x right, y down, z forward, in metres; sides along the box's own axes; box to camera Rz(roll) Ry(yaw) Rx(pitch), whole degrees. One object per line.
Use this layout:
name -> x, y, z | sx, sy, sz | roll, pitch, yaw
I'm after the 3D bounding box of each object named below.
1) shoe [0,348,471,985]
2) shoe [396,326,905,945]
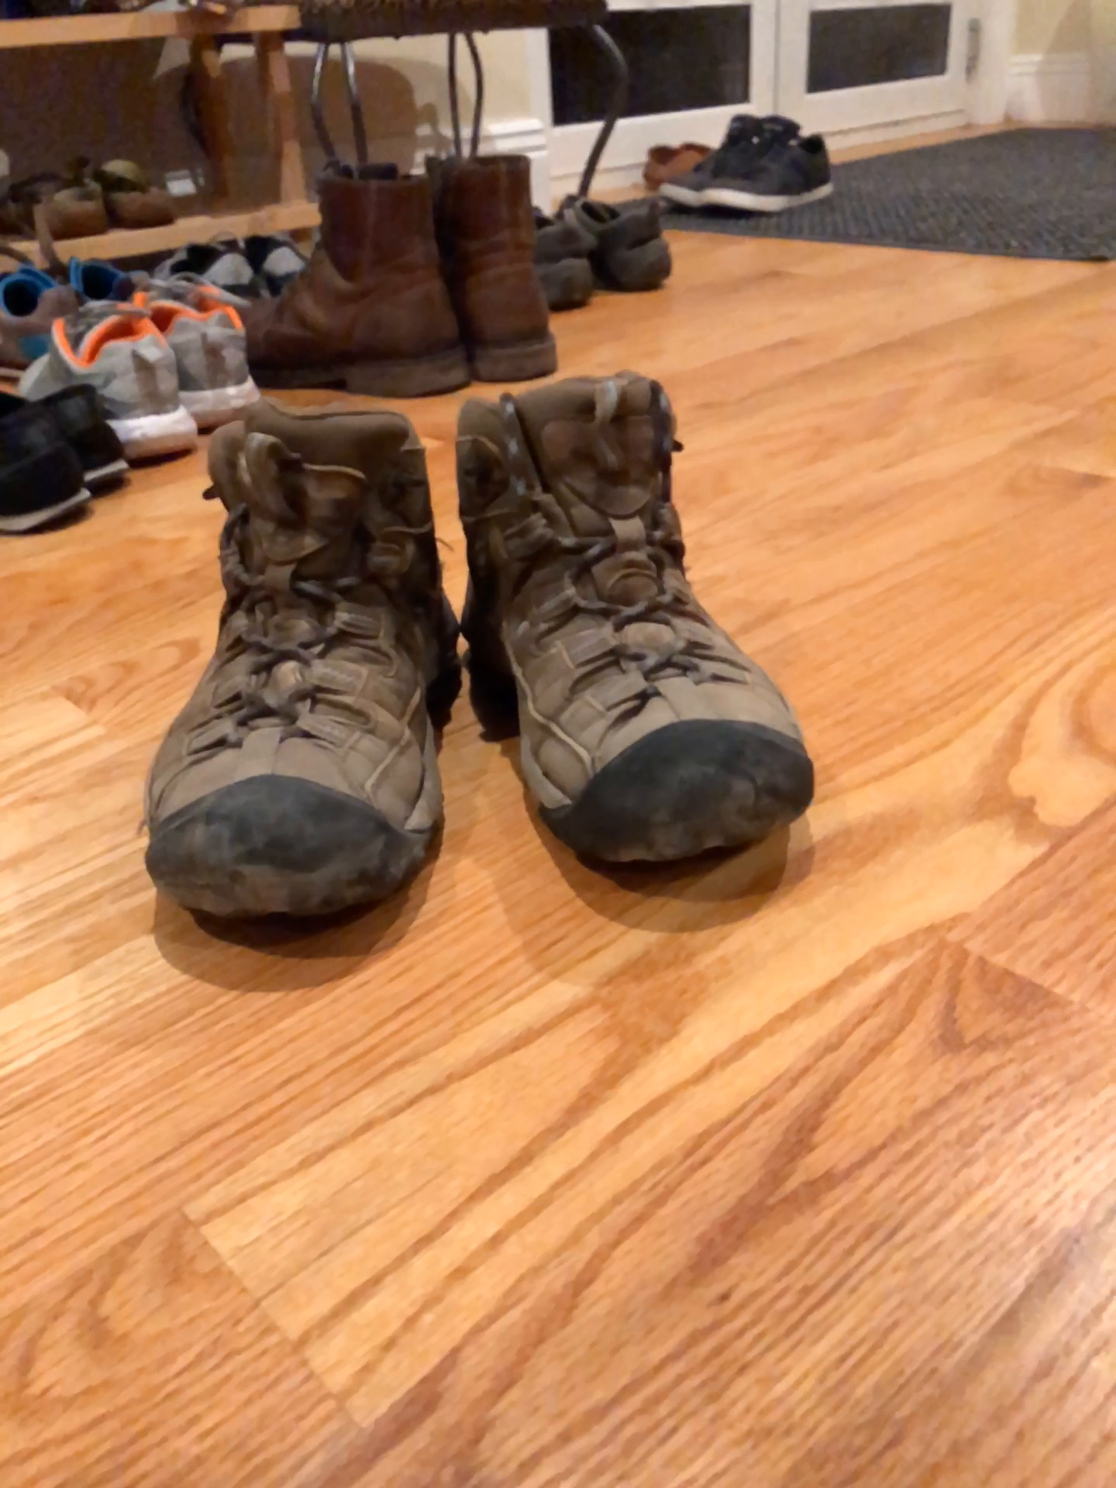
shoe -> -0.100, -0.050, 0.473 | 0.107, 0.139, 0.261 | -3, 29, 1
shoe -> 0.017, -0.065, 0.486 | 0.107, 0.139, 0.261 | -10, 30, -12
